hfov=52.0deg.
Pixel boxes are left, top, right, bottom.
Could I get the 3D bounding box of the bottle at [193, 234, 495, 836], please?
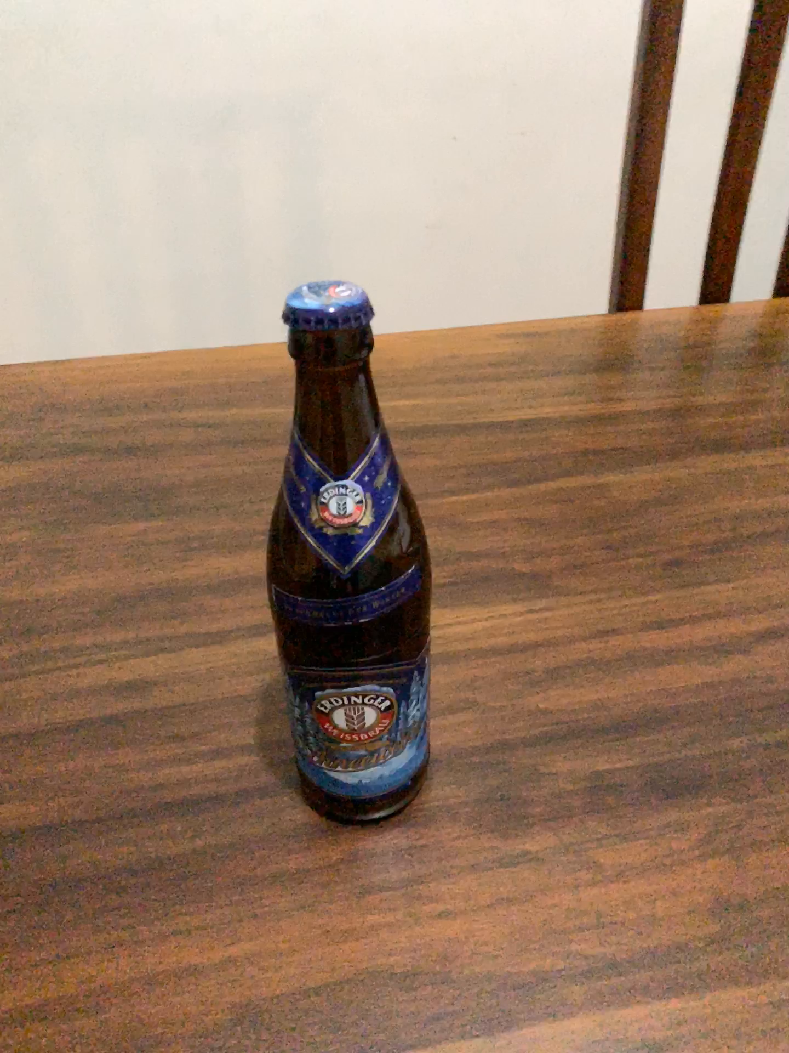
[{"bbox_3d":[-0.016,0.023,0.322,0.080,0.249,0.070,-6,42,-5],"label":"bottle"}]
